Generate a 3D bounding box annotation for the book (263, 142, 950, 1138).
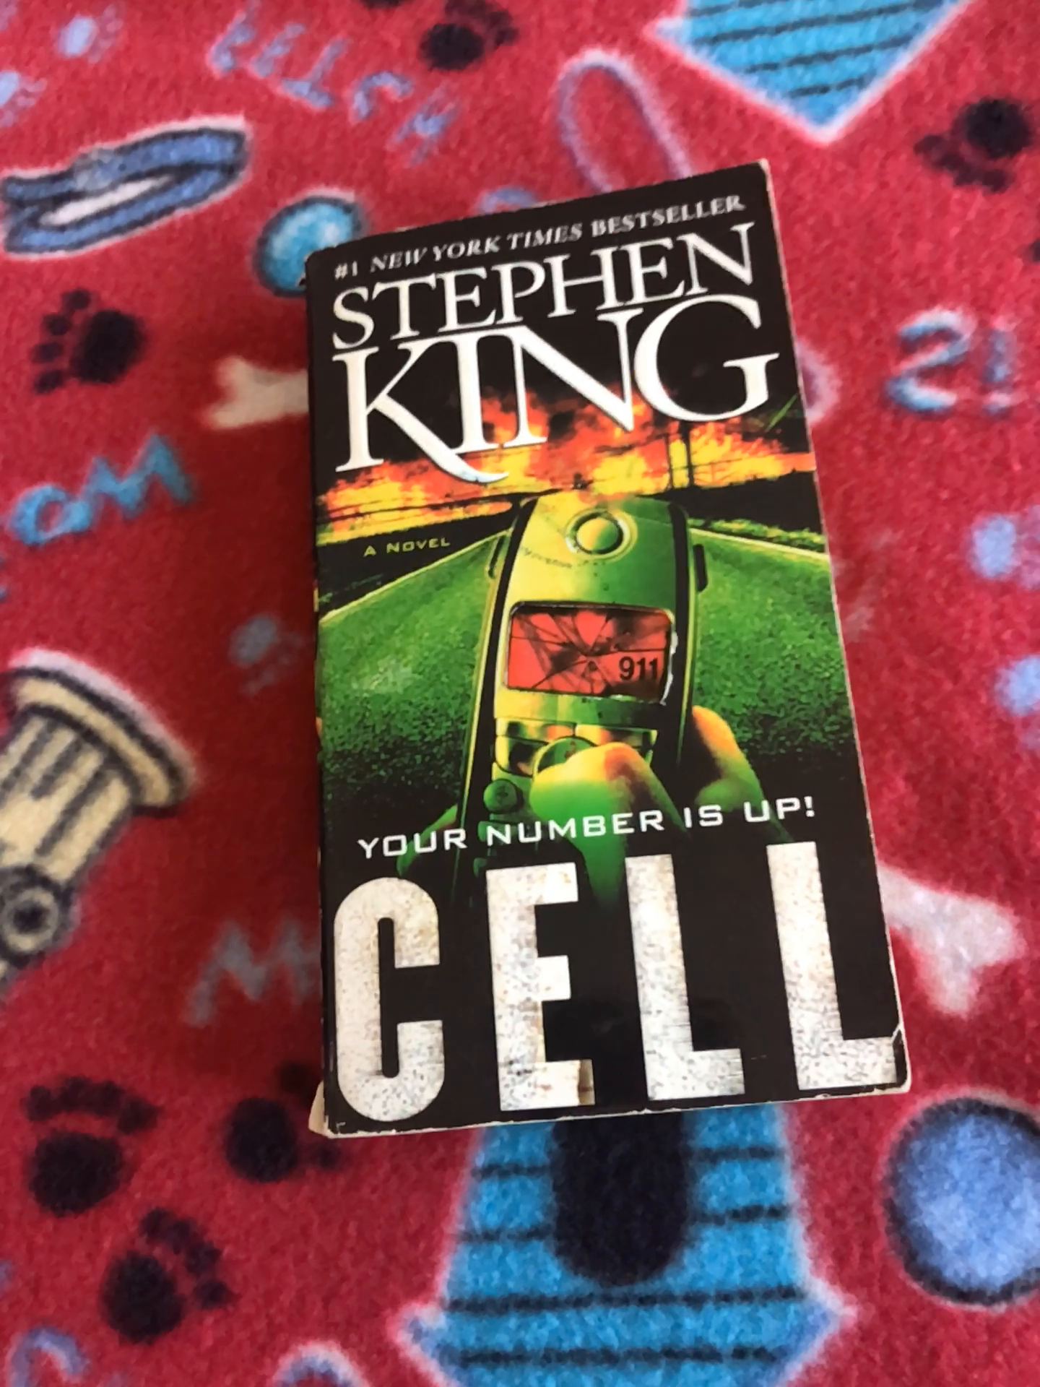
[{"bbox_3d":[0.009,-0.017,0.248,0.120,0.030,0.200,-5,73,4],"label":"book"}]
